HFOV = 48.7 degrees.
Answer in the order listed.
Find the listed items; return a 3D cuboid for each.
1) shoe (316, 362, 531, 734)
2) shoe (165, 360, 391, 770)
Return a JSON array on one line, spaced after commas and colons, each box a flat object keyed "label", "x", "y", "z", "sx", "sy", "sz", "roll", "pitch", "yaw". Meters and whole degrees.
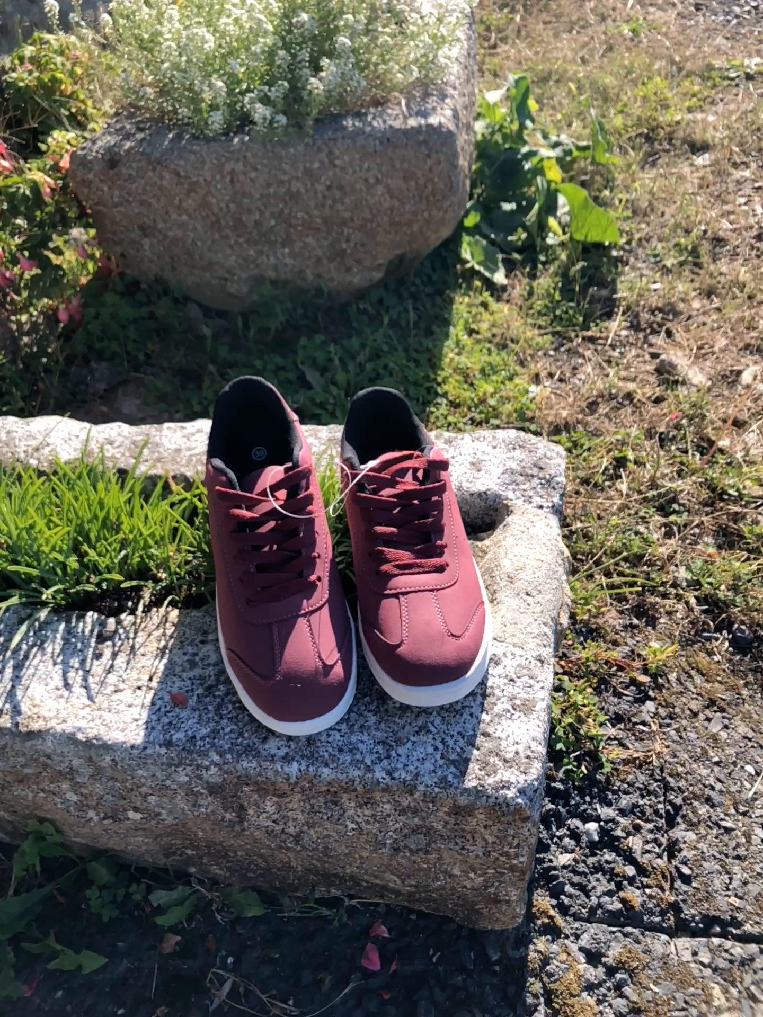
[{"label": "shoe", "x": 0.019, "y": 0.010, "z": 0.568, "sx": 0.100, "sy": 0.080, "sz": 0.262, "roll": -9, "pitch": 41, "yaw": -1}, {"label": "shoe", "x": -0.076, "y": 0.025, "z": 0.568, "sx": 0.100, "sy": 0.080, "sz": 0.261, "roll": -13, "pitch": 52, "yaw": -5}]
